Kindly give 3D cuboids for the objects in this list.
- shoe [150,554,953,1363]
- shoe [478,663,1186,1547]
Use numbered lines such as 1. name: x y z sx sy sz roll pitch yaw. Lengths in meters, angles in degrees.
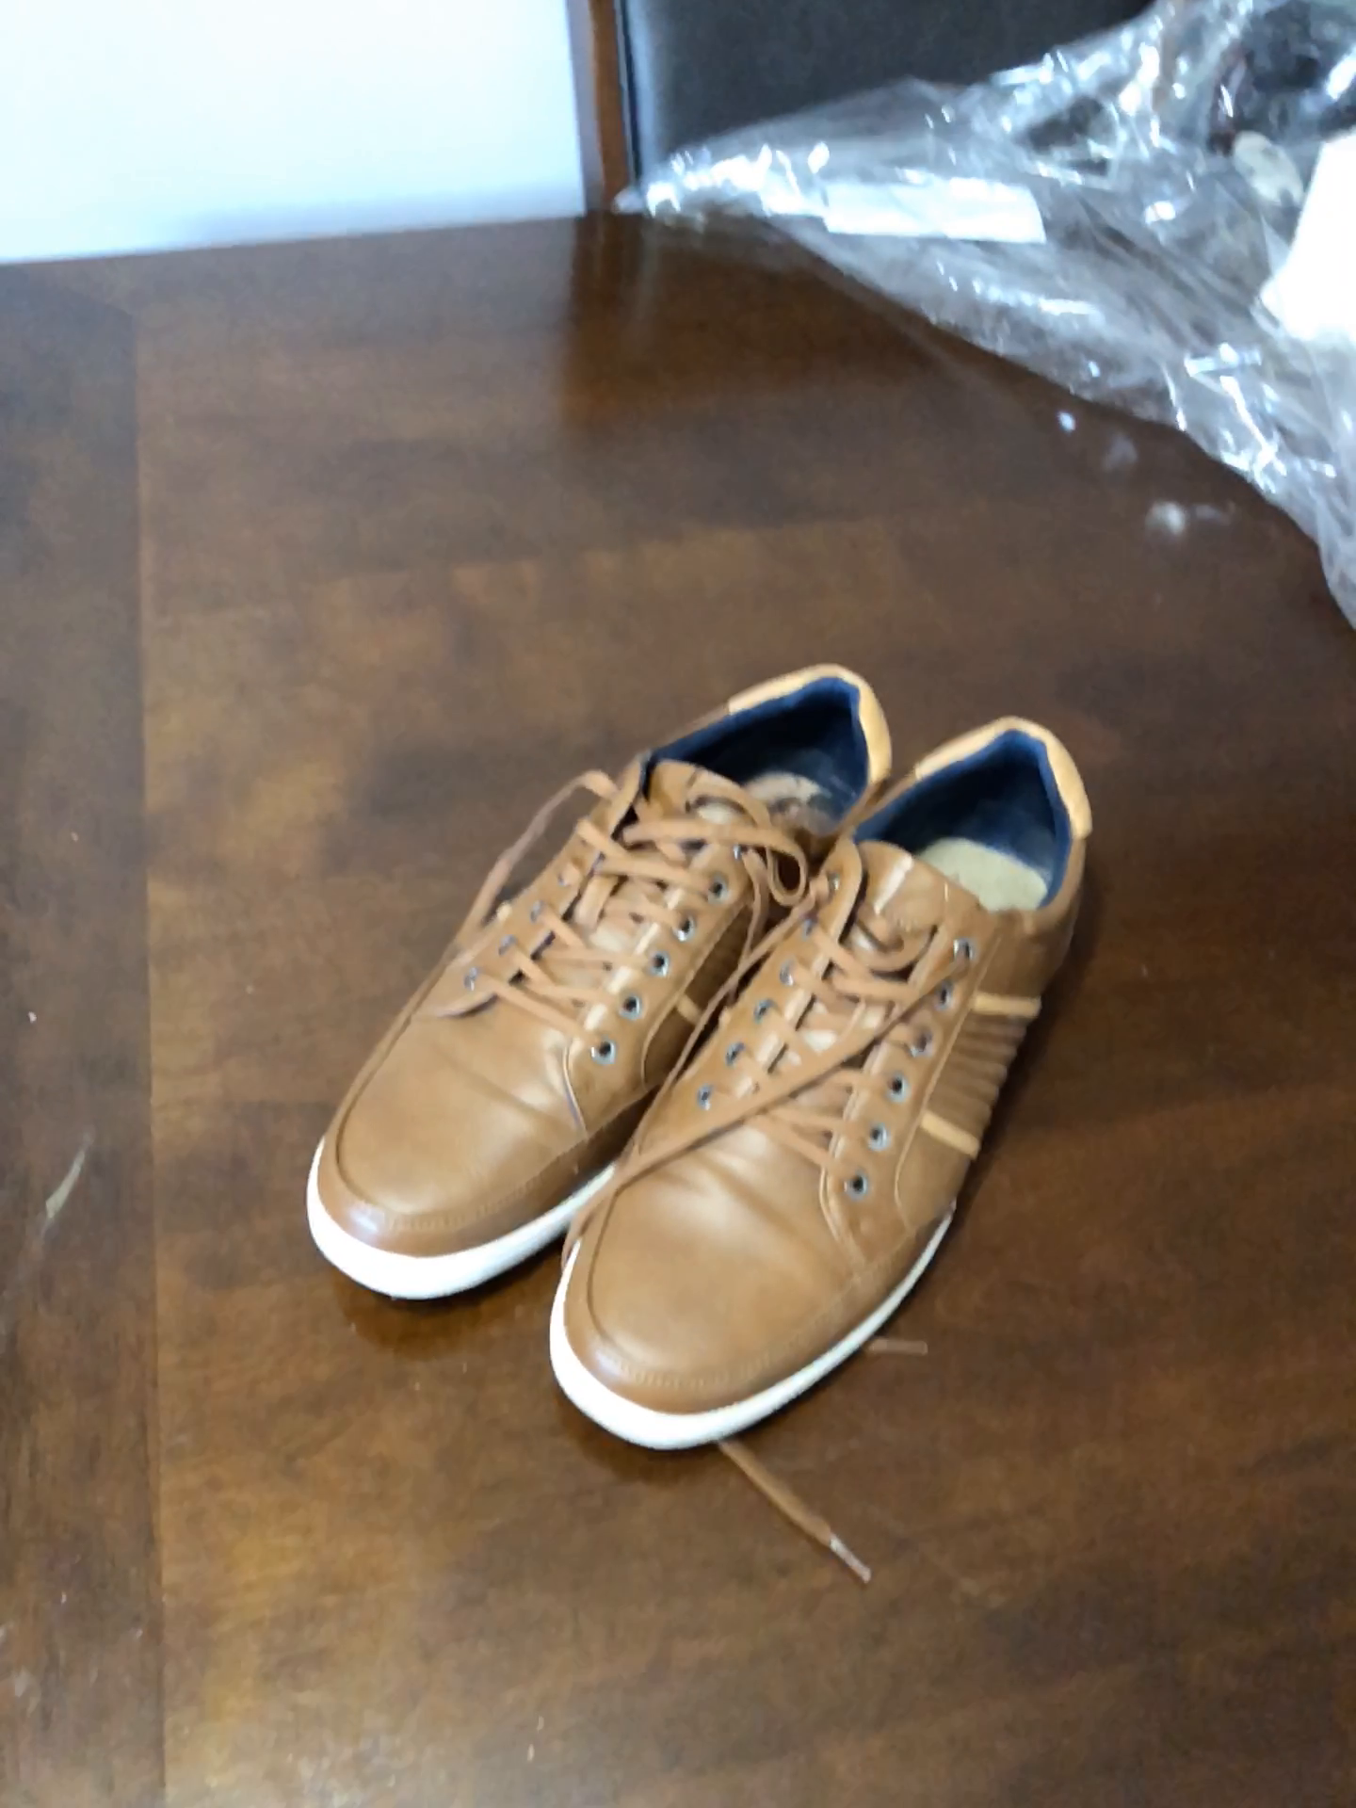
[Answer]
1. shoe: -0.027 0.001 0.529 0.110 0.080 0.291 29 55 21
2. shoe: 0.064 0.048 0.514 0.110 0.080 0.291 25 53 18
